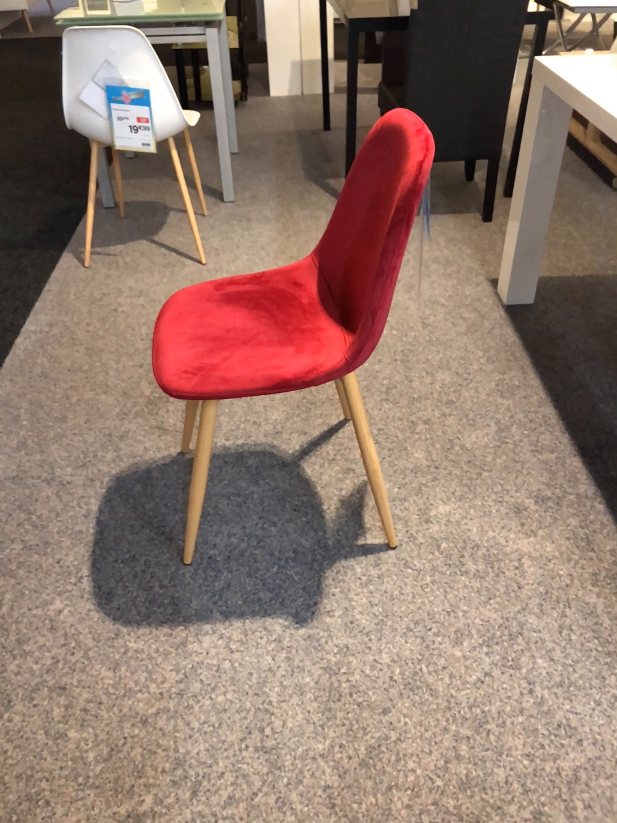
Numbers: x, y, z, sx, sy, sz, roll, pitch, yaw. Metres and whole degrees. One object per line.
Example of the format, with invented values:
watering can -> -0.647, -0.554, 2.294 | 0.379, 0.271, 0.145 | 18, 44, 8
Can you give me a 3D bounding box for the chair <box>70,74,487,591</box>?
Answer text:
chair -> -0.055, -0.151, 1.344 | 0.550, 0.815, 0.533 | -6, 38, -5
